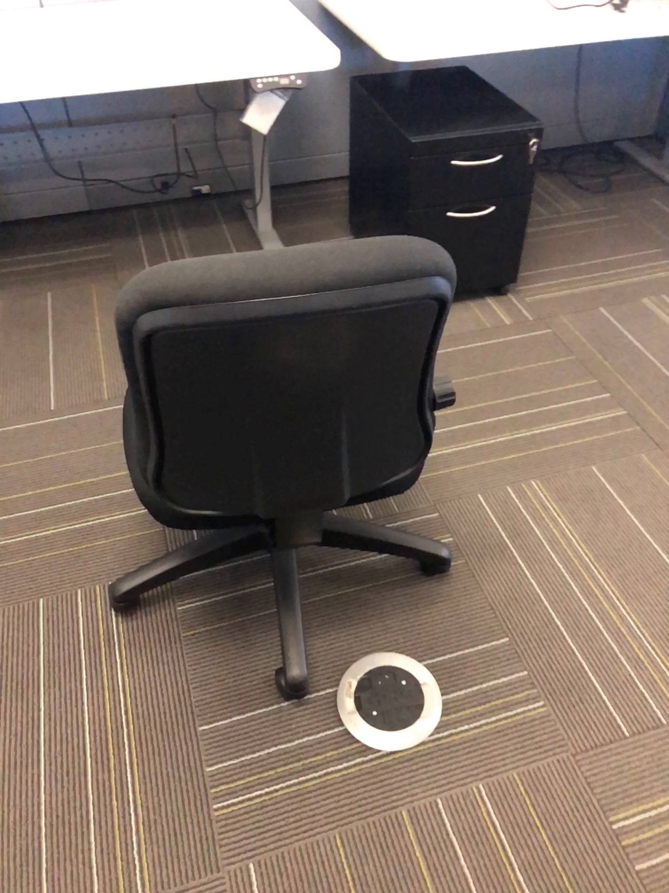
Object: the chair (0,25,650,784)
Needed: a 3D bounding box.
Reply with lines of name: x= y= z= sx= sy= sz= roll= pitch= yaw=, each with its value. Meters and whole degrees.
chair: x=-0.152 y=-0.104 z=1.238 sx=0.770 sy=0.846 sz=0.764 roll=-12 pitch=44 yaw=-12
